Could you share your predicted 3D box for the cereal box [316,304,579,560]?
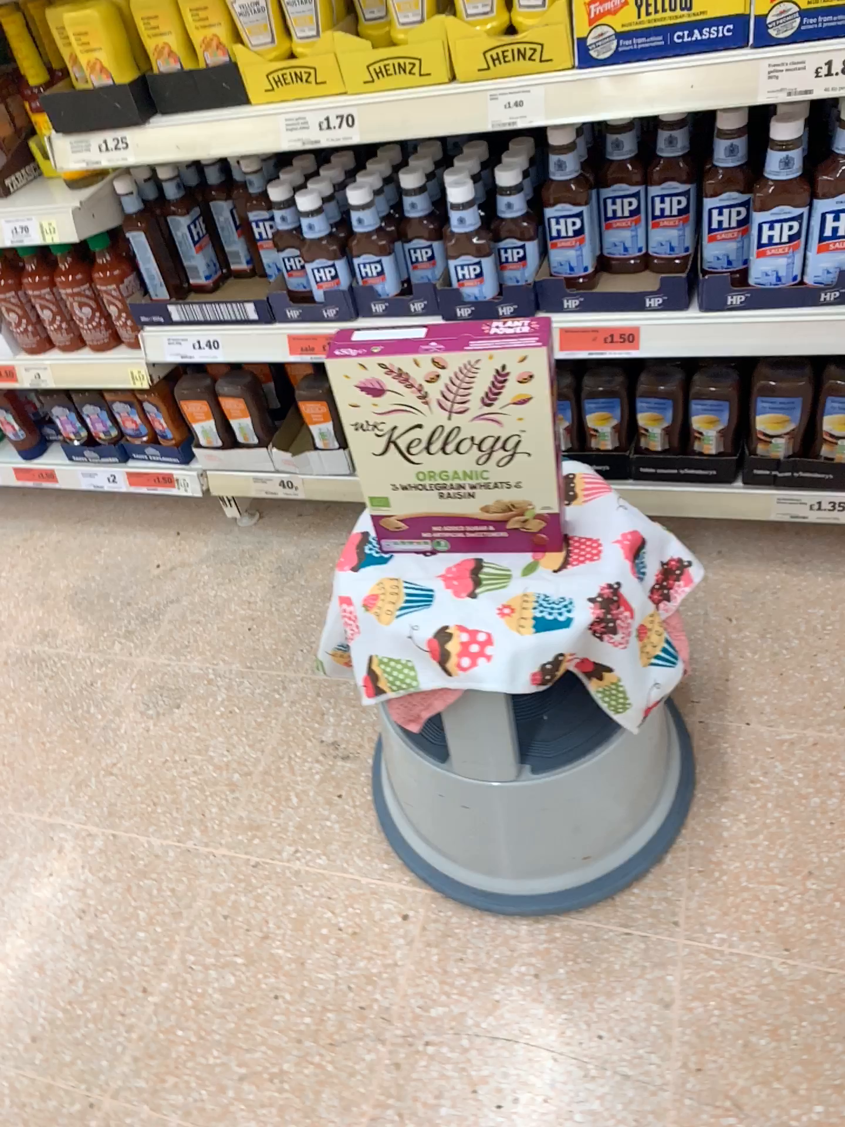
[{"bbox_3d":[0.035,-0.109,0.806,0.200,0.248,0.050,0,45,16],"label":"cereal box"}]
